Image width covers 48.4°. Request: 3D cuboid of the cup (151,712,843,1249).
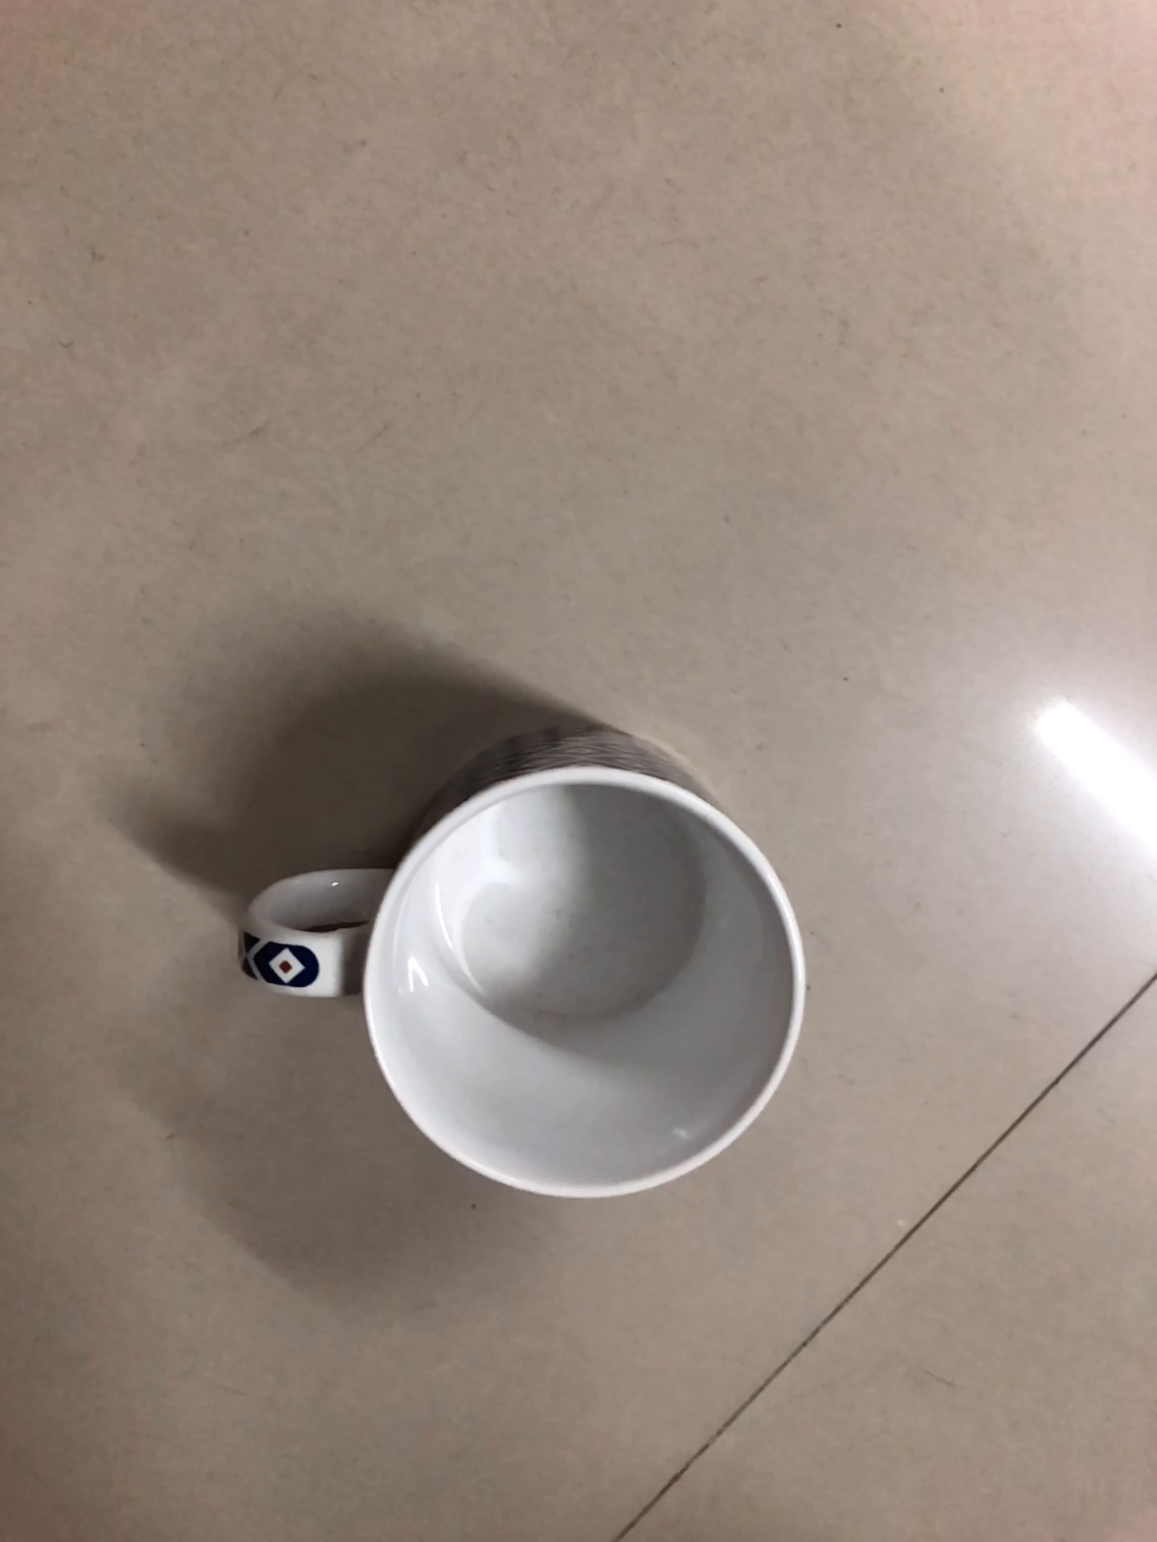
[{"bbox_3d":[-0.015,0.034,0.250,0.110,0.080,0.080,2,98,-2],"label":"cup"}]
